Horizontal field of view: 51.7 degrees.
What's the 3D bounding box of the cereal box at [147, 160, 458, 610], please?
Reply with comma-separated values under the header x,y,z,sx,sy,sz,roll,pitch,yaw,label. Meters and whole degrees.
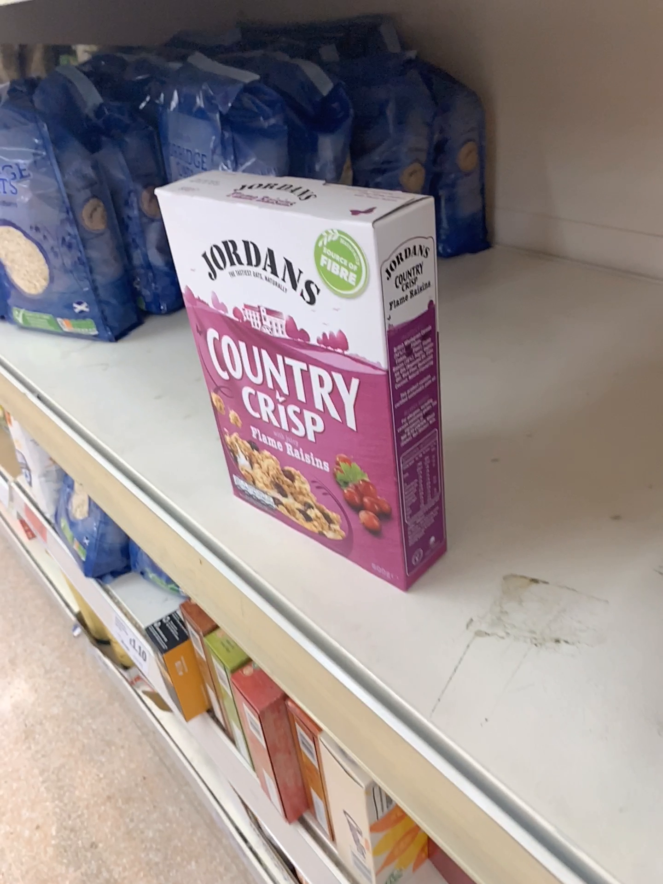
x,y,z,sx,sy,sz,roll,pitch,yaw,label
-0.014,-0.040,0.458,0.201,0.258,0.050,23,44,37,cereal box
